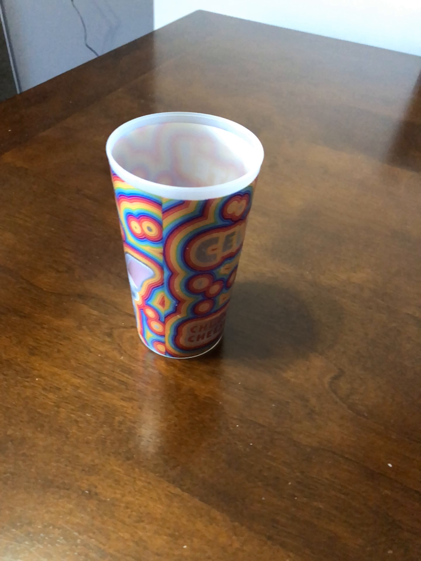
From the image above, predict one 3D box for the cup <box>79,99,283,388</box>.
[{"bbox_3d":[-0.014,-0.017,0.262,0.070,0.130,0.070,2,43,-2],"label":"cup"}]
